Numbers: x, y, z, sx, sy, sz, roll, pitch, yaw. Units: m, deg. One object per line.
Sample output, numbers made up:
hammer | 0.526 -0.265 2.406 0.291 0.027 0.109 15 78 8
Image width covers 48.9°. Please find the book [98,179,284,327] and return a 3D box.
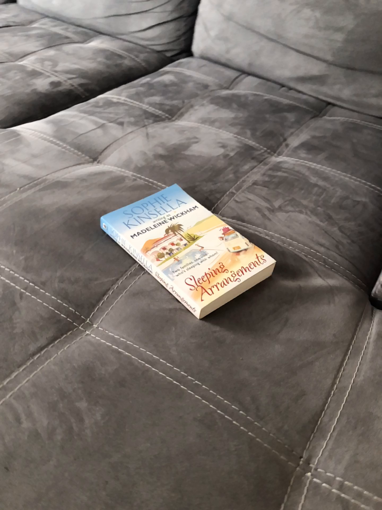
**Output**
book | -0.005 -0.016 0.526 0.131 0.030 0.200 -27 53 -33
